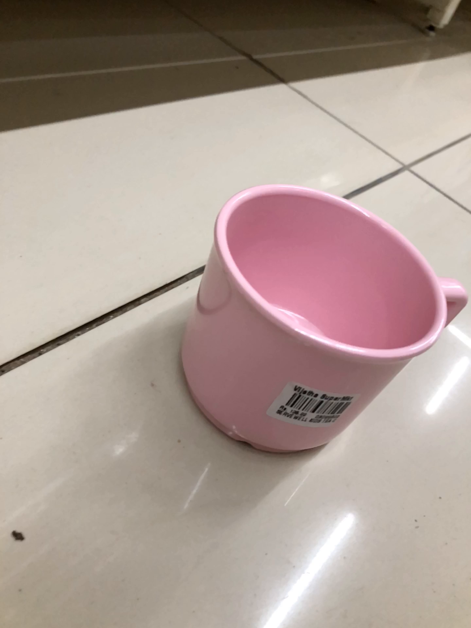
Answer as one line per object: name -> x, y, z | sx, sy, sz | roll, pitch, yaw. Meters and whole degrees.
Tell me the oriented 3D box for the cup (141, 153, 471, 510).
cup -> 0.034, 0.006, 0.190 | 0.110, 0.079, 0.080 | 0, 47, -24
